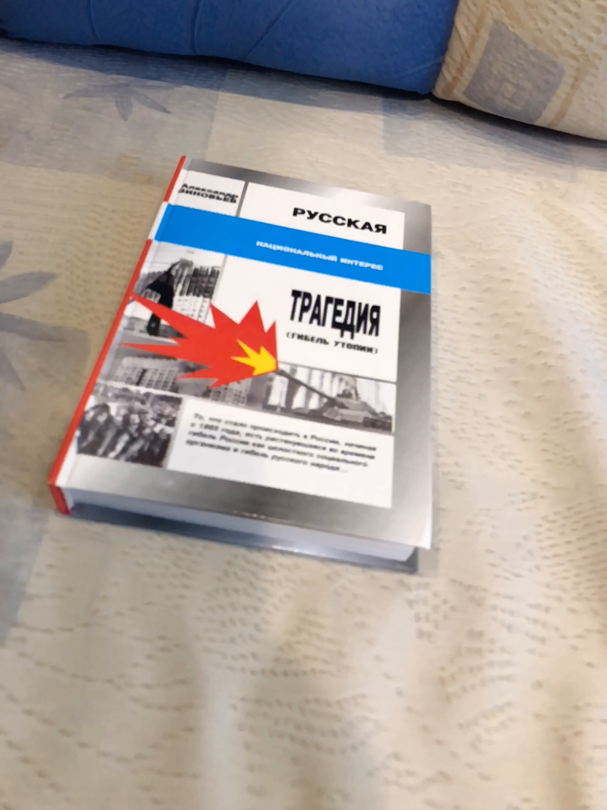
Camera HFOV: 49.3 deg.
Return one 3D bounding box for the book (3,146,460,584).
[{"bbox_3d":[-0.014,-0.033,0.306,0.160,0.040,0.201,10,53,0],"label":"book"}]
